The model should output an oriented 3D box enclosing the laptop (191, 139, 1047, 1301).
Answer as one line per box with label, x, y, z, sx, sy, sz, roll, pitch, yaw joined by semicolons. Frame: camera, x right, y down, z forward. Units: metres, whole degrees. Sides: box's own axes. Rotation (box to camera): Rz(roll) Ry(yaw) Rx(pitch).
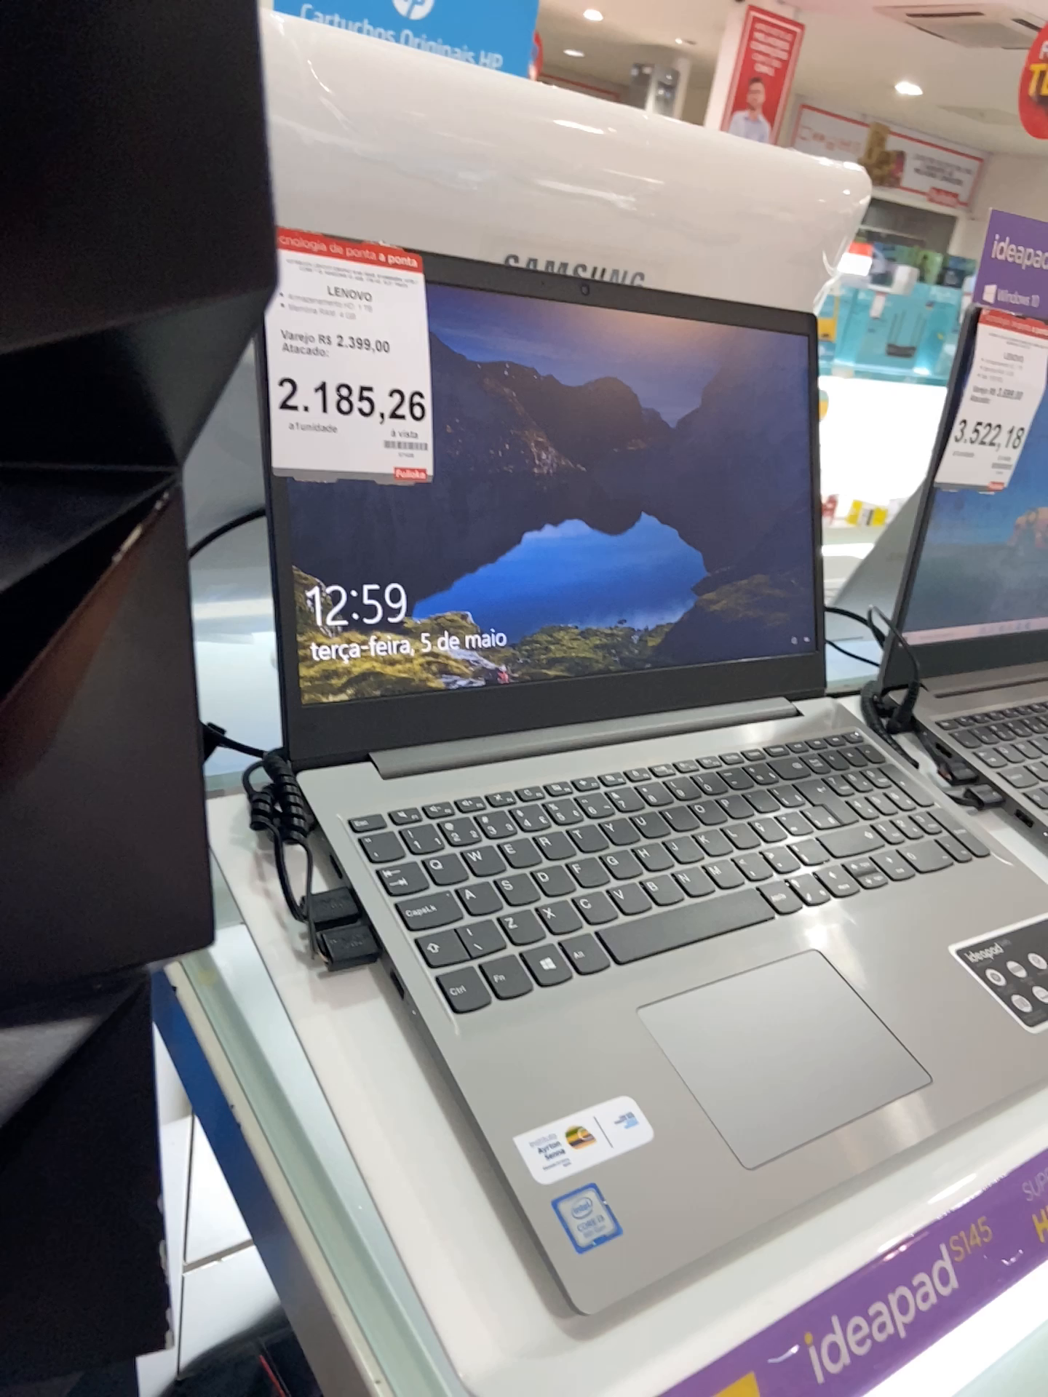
laptop;0.087;-0.051;0.495;0.359;0.212;0.389;-6;37;-34
